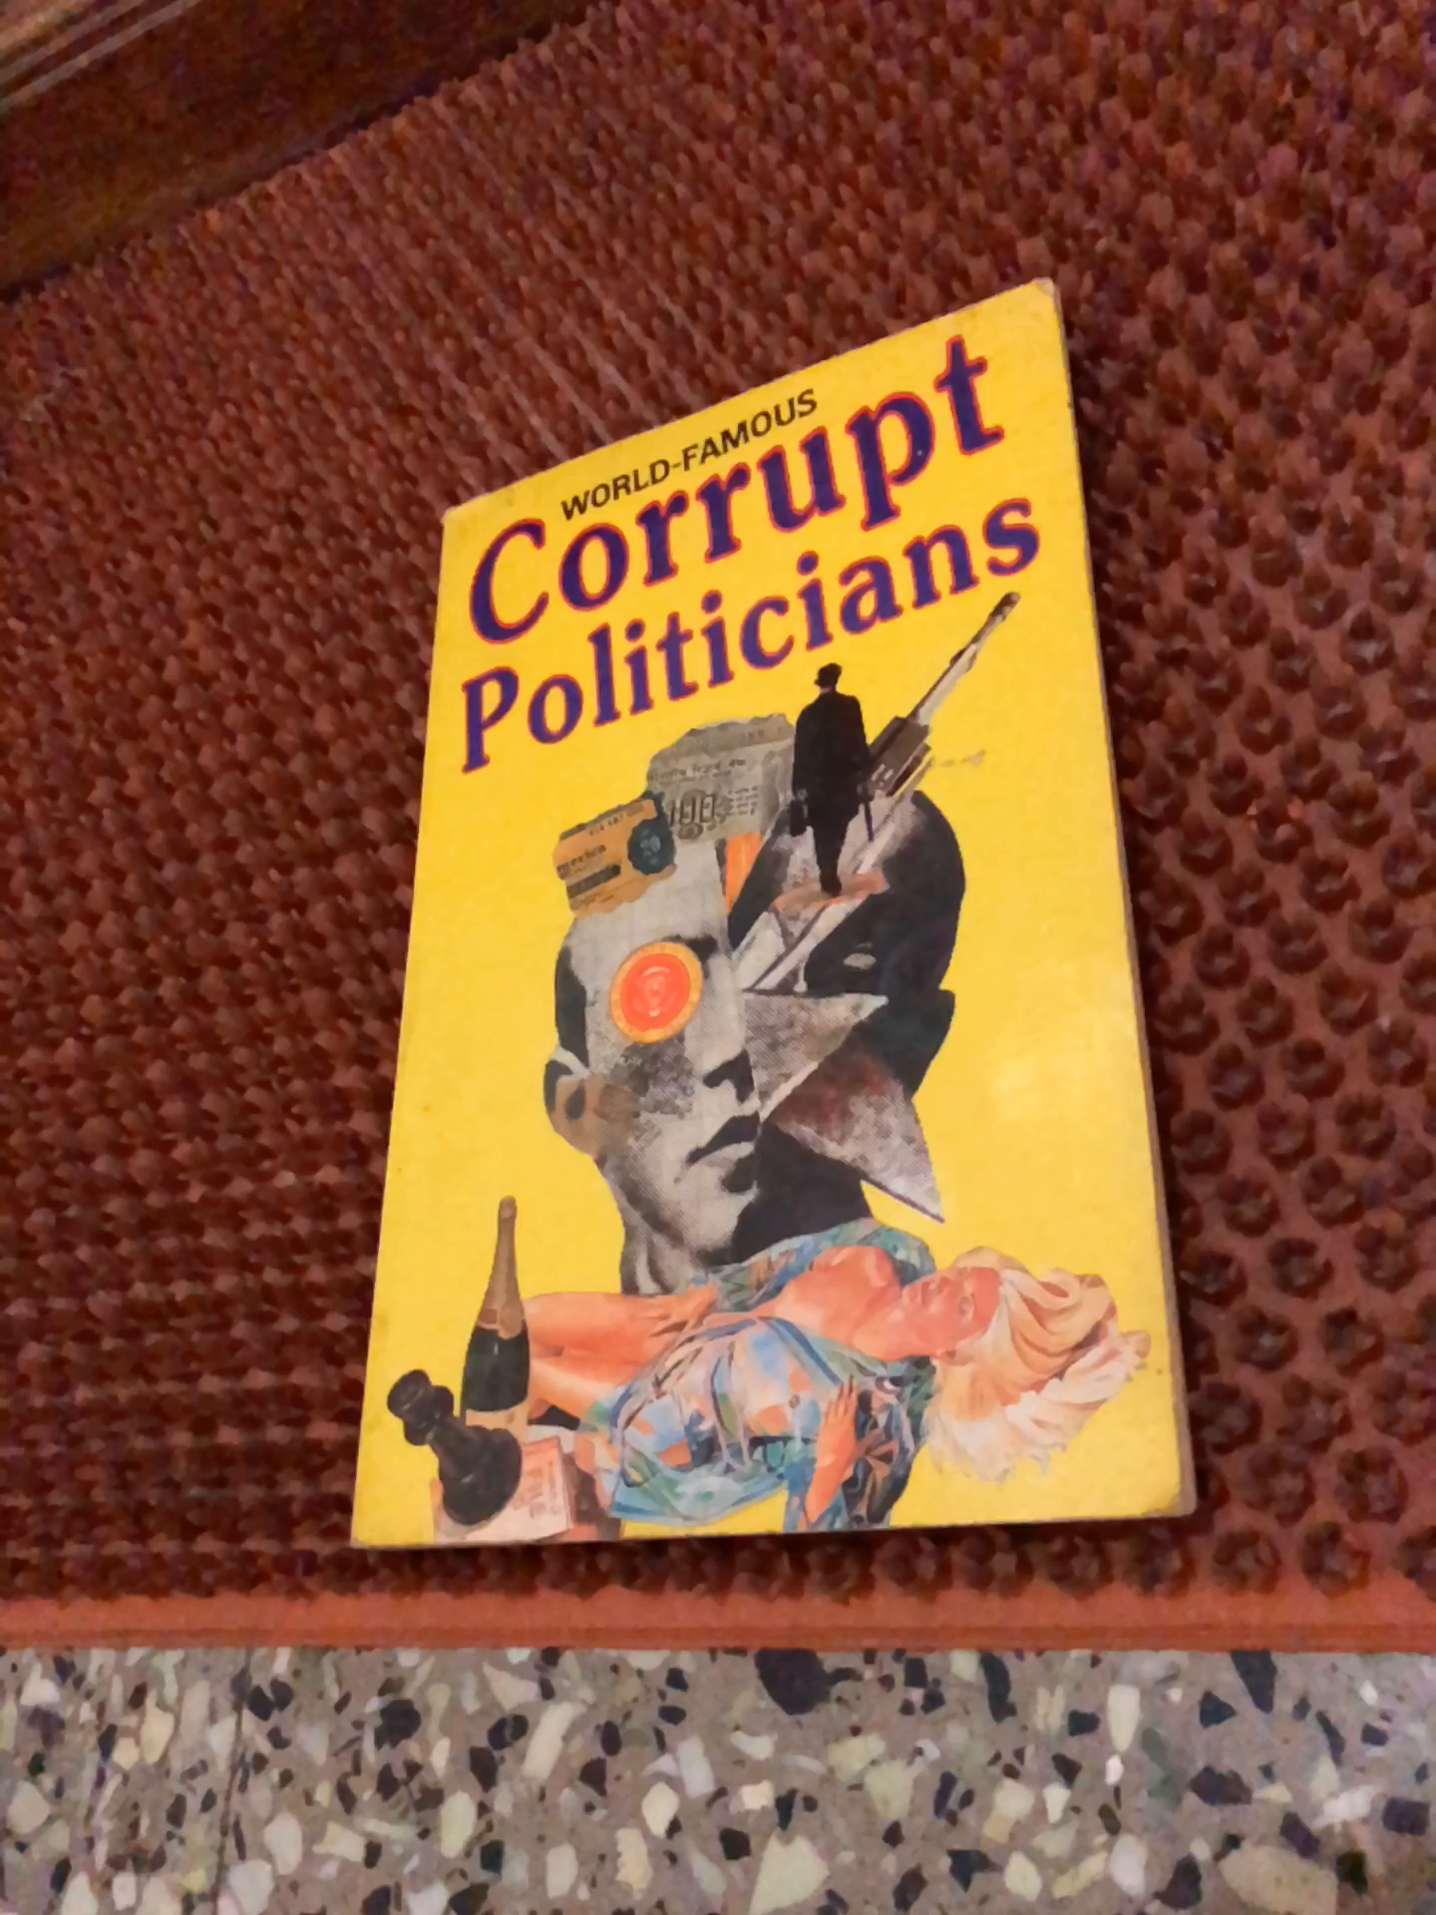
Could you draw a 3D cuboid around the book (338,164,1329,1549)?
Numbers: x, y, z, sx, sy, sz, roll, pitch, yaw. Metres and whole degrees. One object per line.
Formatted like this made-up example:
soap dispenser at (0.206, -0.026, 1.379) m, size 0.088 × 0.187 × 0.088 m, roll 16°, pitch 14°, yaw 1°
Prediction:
book at (0.009, -0.021, 0.283) m, size 0.150 × 0.020 × 0.230 m, roll -12°, pitch 63°, yaw 25°
